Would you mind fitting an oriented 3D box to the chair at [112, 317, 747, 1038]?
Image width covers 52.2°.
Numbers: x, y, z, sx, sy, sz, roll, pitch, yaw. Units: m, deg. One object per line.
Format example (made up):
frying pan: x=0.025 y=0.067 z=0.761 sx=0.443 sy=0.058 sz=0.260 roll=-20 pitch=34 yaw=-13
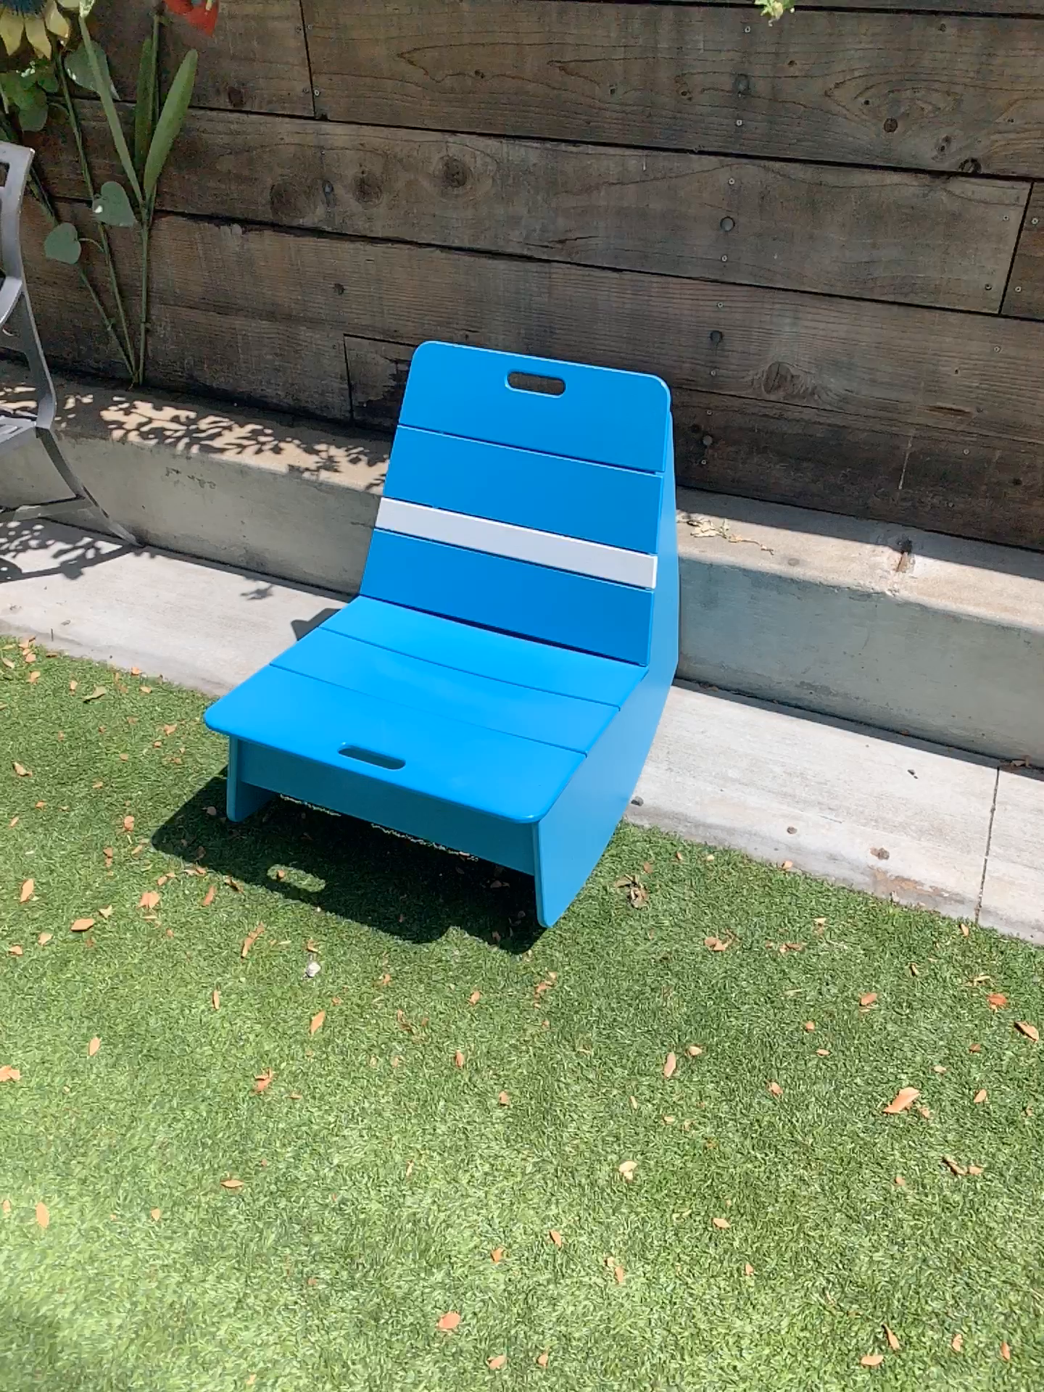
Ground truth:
chair: x=-0.076 y=-0.062 z=1.709 sx=0.591 sy=0.745 sz=0.723 roll=17 pitch=45 yaw=20
